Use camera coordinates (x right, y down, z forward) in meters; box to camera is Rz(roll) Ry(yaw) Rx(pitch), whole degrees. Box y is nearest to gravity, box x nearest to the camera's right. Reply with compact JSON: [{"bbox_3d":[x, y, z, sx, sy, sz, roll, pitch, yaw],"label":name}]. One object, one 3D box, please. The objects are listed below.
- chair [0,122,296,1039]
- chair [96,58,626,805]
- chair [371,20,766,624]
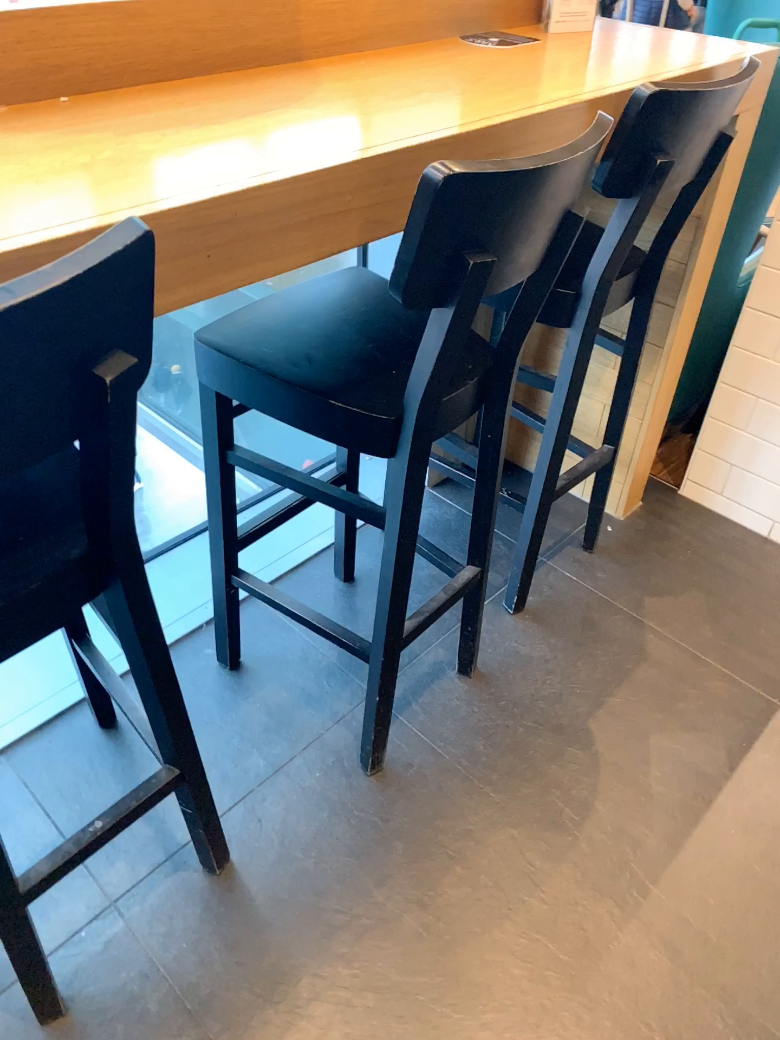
[{"bbox_3d":[-0.436,0.139,0.961,0.462,1.001,0.394,32,47,32],"label":"chair"},{"bbox_3d":[-0.042,-0.113,1.277,0.462,1.001,0.455,29,46,29],"label":"chair"},{"bbox_3d":[0.283,-0.371,1.590,0.462,1.001,0.425,30,46,30],"label":"chair"}]
